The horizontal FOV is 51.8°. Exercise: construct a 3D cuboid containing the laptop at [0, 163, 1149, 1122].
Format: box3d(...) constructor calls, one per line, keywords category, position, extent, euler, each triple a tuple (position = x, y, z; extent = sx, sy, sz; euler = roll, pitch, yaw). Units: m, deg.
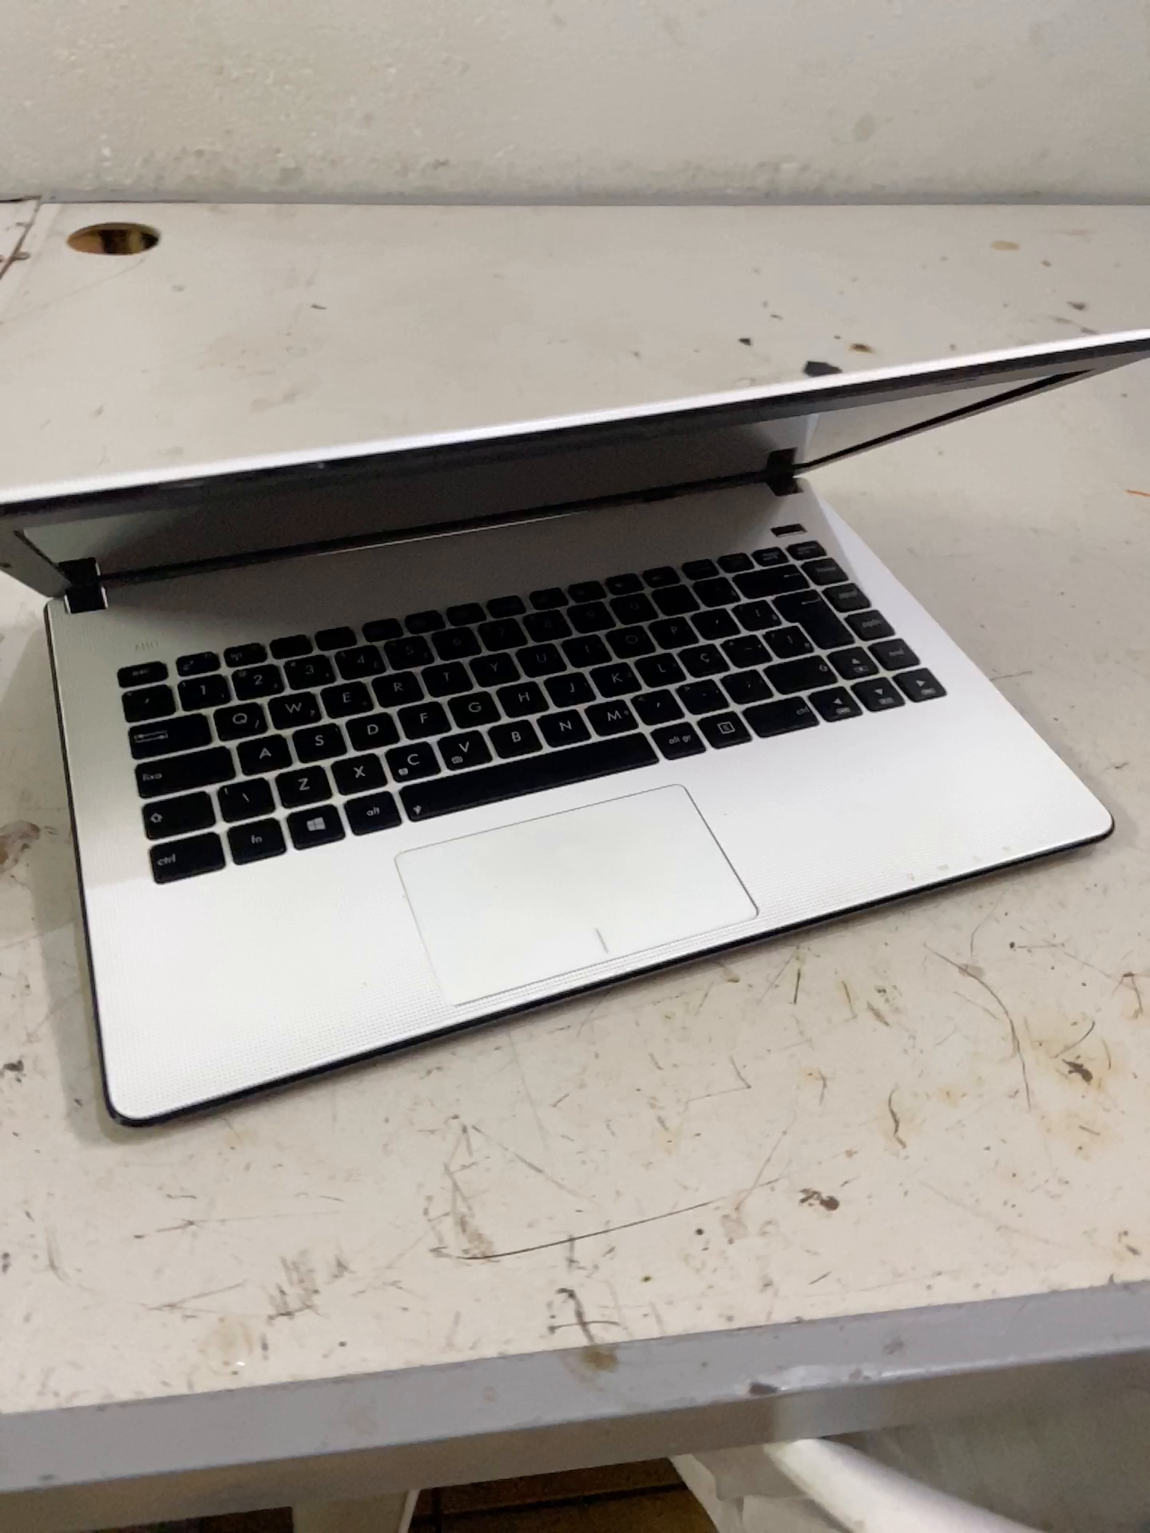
box3d(category="laptop", position=(-0.004, -0.075, 0.399), extent=(0.343, 0.141, 0.237), euler=(-13, 47, -18))
